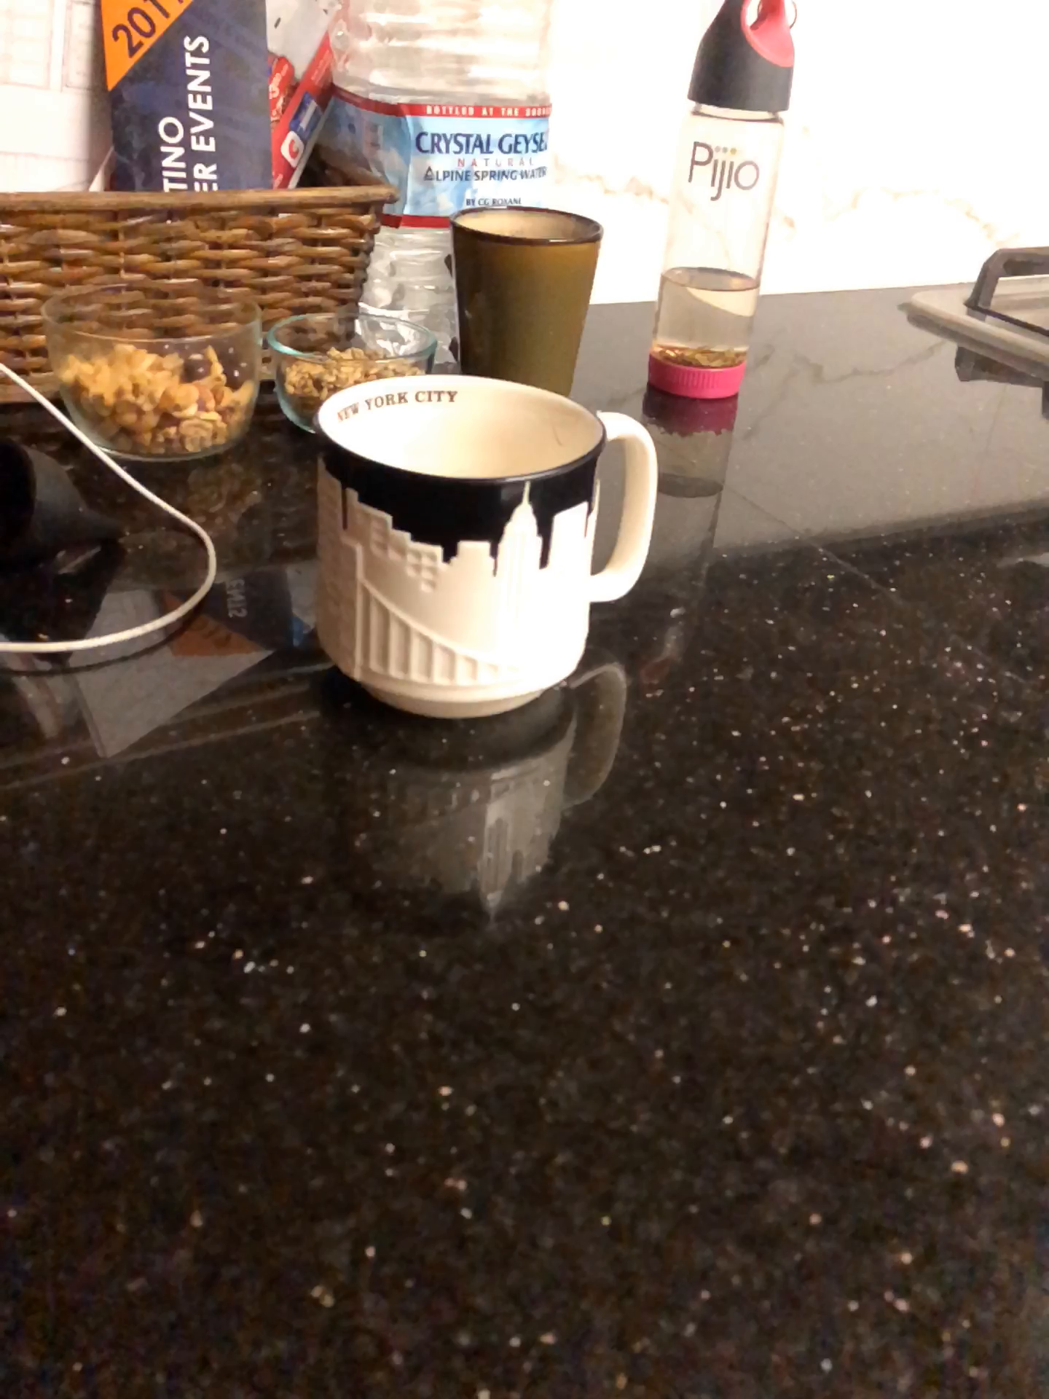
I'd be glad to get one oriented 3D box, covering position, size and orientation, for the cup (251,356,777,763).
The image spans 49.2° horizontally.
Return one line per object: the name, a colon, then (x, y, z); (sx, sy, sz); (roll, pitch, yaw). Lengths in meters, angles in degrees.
cup: (-0.009, -0.062, 0.435); (0.150, 0.089, 0.121); (-13, 37, -26)
